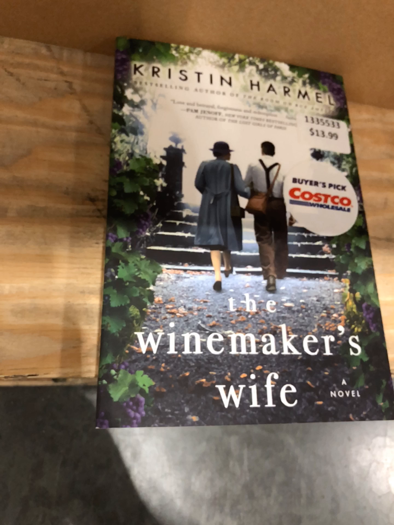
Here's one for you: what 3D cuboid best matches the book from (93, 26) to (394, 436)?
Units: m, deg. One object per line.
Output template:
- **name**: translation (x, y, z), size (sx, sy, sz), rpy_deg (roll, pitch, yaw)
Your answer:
- **book**: translation (0.027, -0.024, 0.257), size (0.154, 0.035, 0.229), rpy_deg (4, 67, -13)
